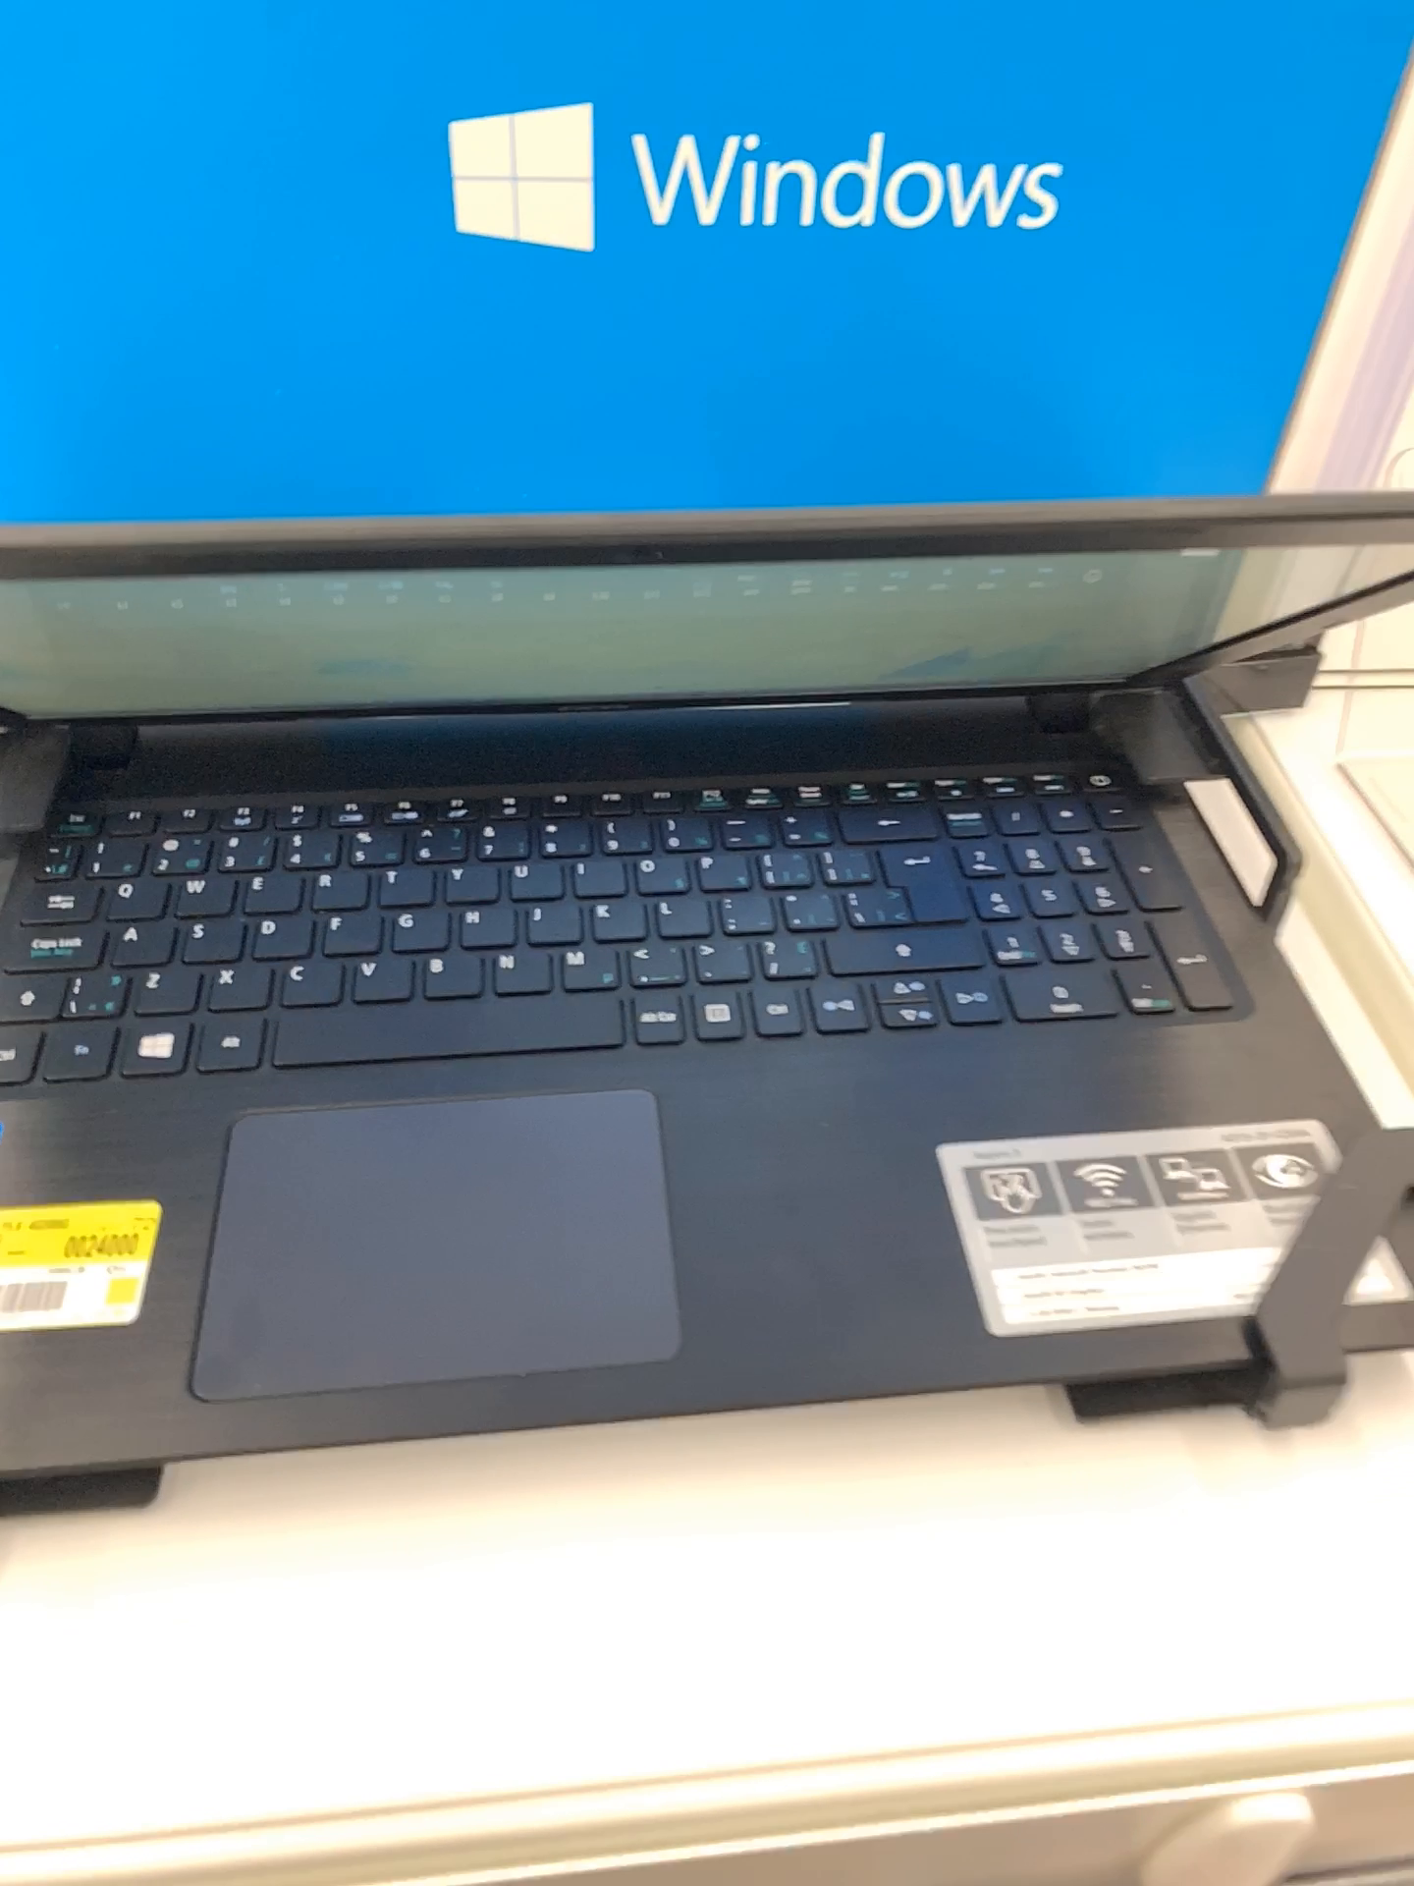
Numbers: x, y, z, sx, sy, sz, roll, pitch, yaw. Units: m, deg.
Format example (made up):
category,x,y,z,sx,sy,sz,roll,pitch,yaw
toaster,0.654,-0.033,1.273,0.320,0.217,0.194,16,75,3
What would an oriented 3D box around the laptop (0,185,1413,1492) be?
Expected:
category,x,y,z,sx,sy,sz,roll,pitch,yaw
laptop,-0.017,-0.043,0.309,0.344,0.147,0.227,-3,45,-7
